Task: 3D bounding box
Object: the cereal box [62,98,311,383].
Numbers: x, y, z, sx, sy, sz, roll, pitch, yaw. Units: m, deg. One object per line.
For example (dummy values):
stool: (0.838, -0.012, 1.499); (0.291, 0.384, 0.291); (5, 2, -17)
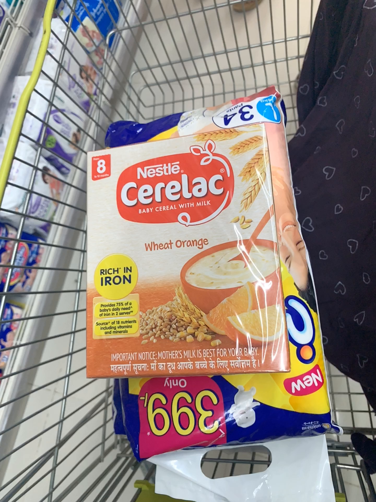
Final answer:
cereal box: (-0.006, -0.002, 0.299); (0.170, 0.050, 0.190); (-6, 77, 14)
